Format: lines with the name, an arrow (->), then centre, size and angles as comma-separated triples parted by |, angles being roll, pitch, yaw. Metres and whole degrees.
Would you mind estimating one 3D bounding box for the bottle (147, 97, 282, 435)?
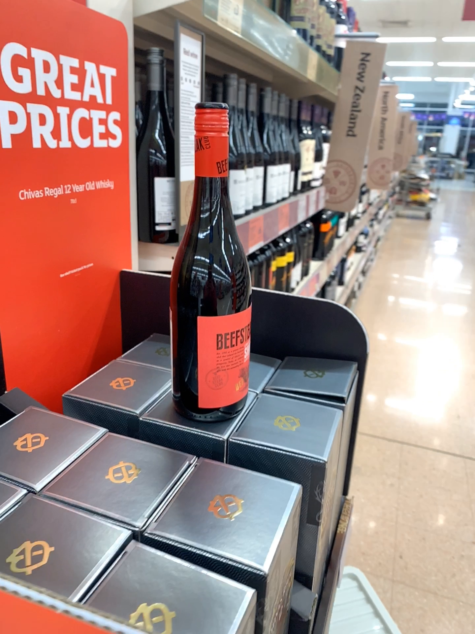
bottle -> -0.025, -0.046, 0.457 | 0.080, 0.284, 0.083 | 3, 19, -1
